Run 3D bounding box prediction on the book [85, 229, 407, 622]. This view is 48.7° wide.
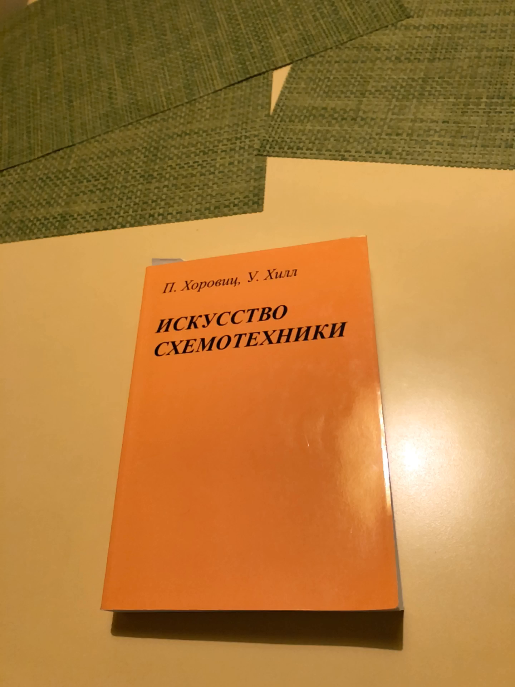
[{"bbox_3d":[-0.003,0.046,0.370,0.171,0.048,0.238,-6,61,13],"label":"book"}]
